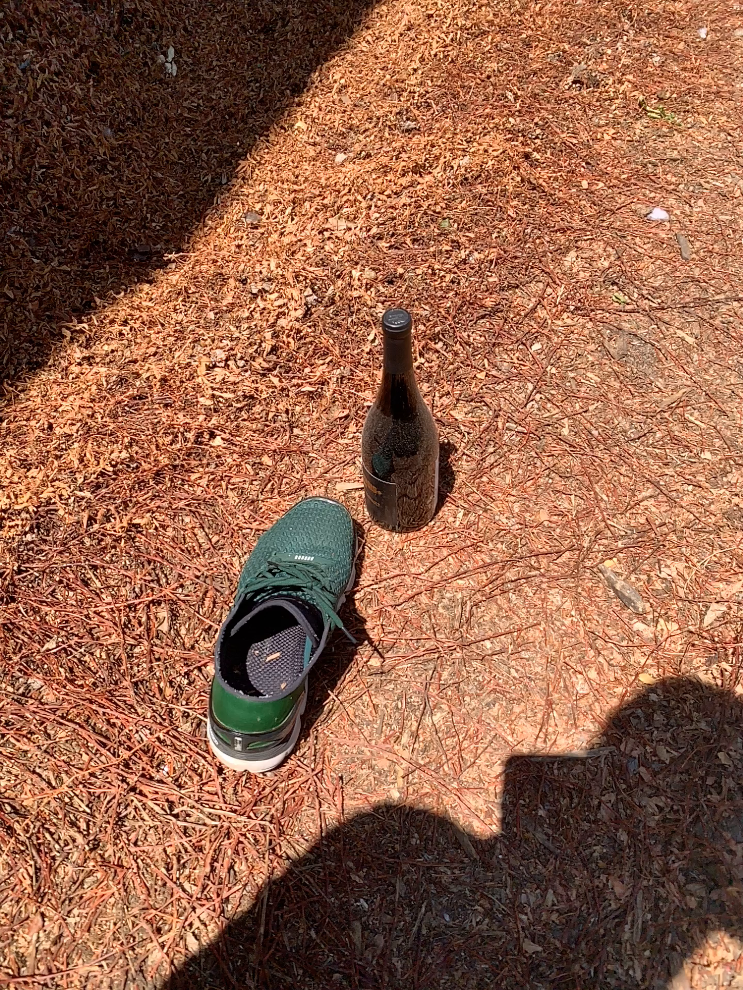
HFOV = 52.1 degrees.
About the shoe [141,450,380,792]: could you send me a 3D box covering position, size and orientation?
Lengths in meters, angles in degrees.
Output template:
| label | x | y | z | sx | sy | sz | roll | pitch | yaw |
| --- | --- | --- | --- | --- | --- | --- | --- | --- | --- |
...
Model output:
| label | x | y | z | sx | sy | sz | roll | pitch | yaw |
| --- | --- | --- | --- | --- | --- | --- | --- | --- | --- |
| shoe | -0.089 | 0.107 | 0.736 | 0.130 | 0.100 | 0.301 | 10 | 50 | 8 |
